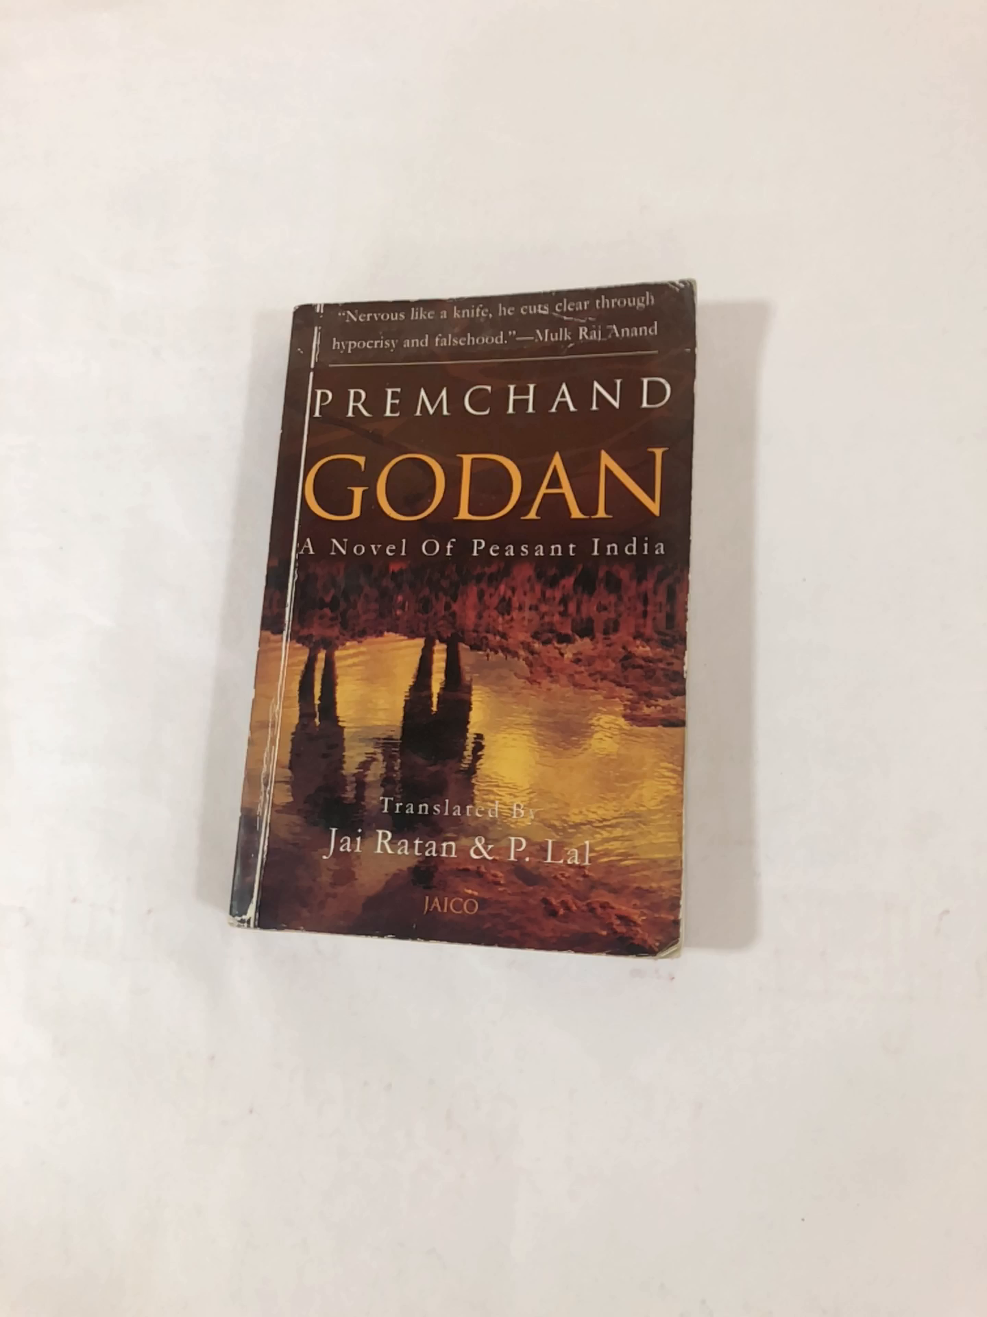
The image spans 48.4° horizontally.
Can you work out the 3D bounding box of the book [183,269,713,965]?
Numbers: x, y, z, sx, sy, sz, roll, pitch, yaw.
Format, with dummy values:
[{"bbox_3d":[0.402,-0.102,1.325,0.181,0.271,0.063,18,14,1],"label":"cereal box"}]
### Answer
[{"bbox_3d":[-0.009,-0.018,0.350,0.150,0.030,0.210,1,77,11],"label":"book"}]
